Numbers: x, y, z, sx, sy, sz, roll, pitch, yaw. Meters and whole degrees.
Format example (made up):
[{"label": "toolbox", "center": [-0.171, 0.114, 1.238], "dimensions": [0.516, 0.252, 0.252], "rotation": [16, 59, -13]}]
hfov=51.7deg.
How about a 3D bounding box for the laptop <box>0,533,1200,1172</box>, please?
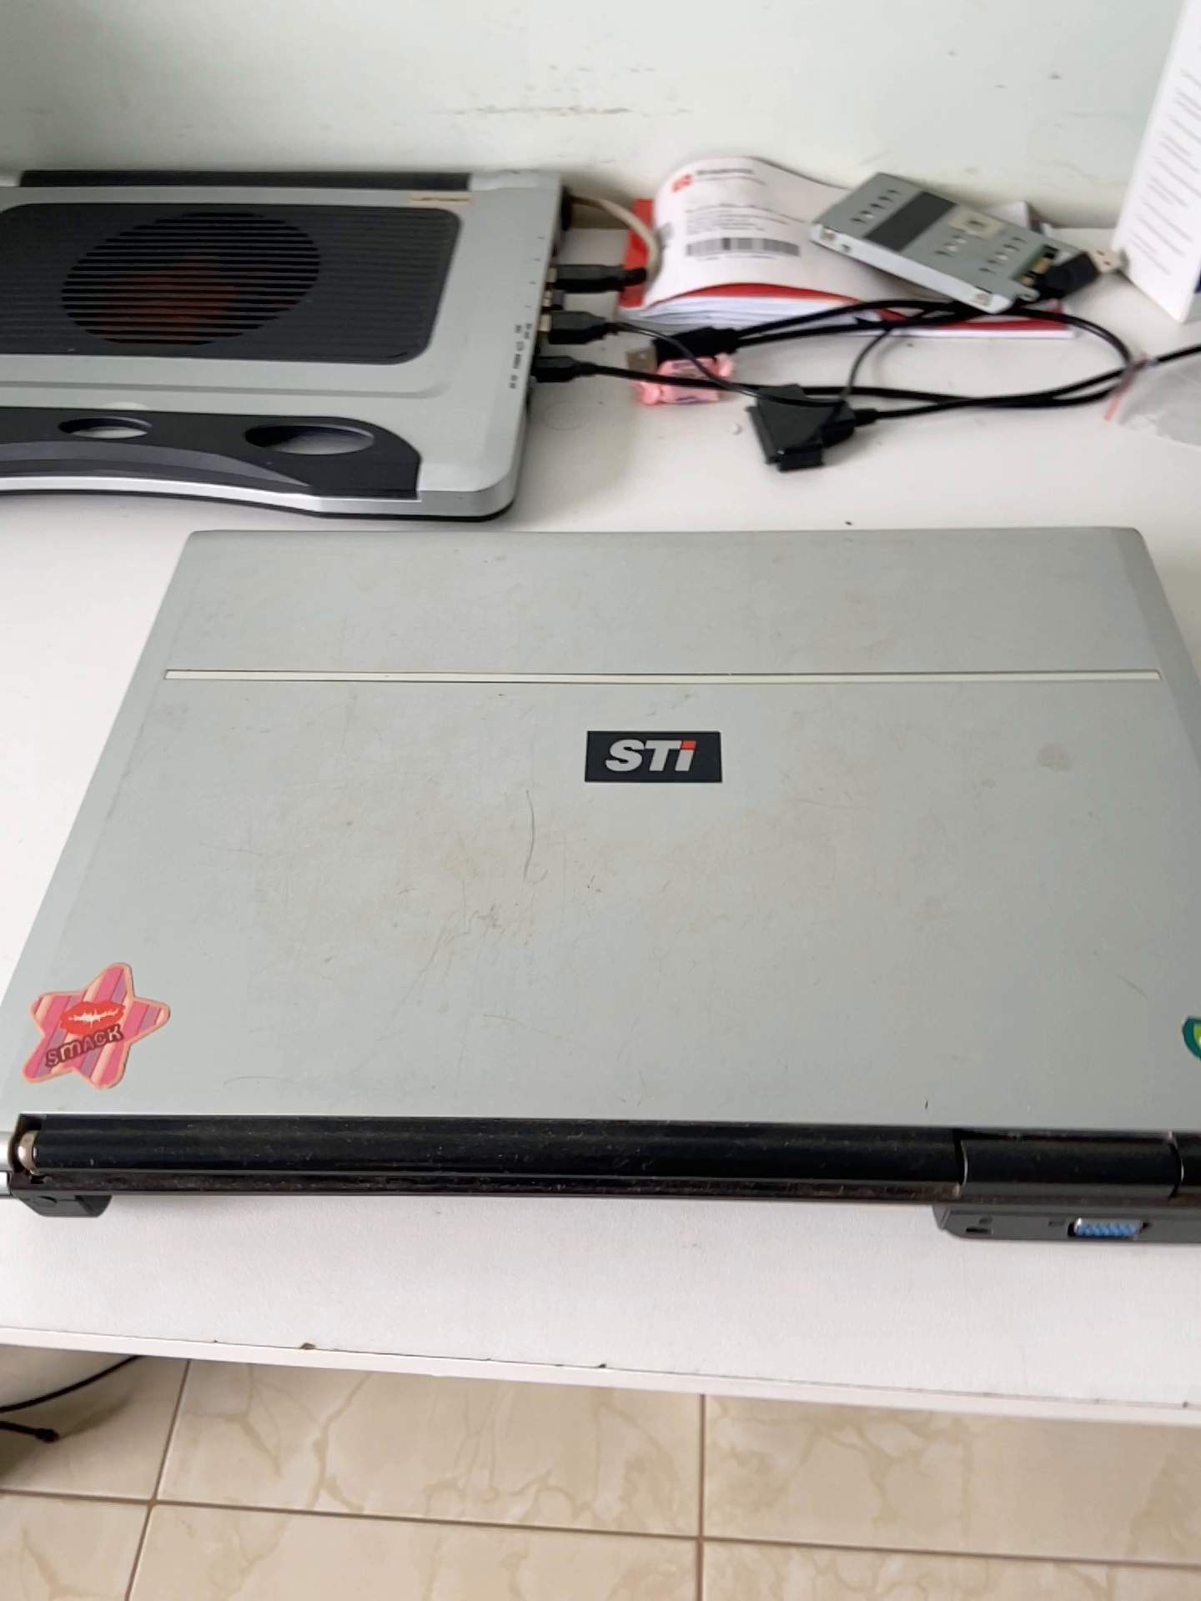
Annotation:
[{"label": "laptop", "center": [0.018, -0.006, 0.377], "dimensions": [0.338, 0.004, 0.235], "rotation": [0, 50, 3]}]
